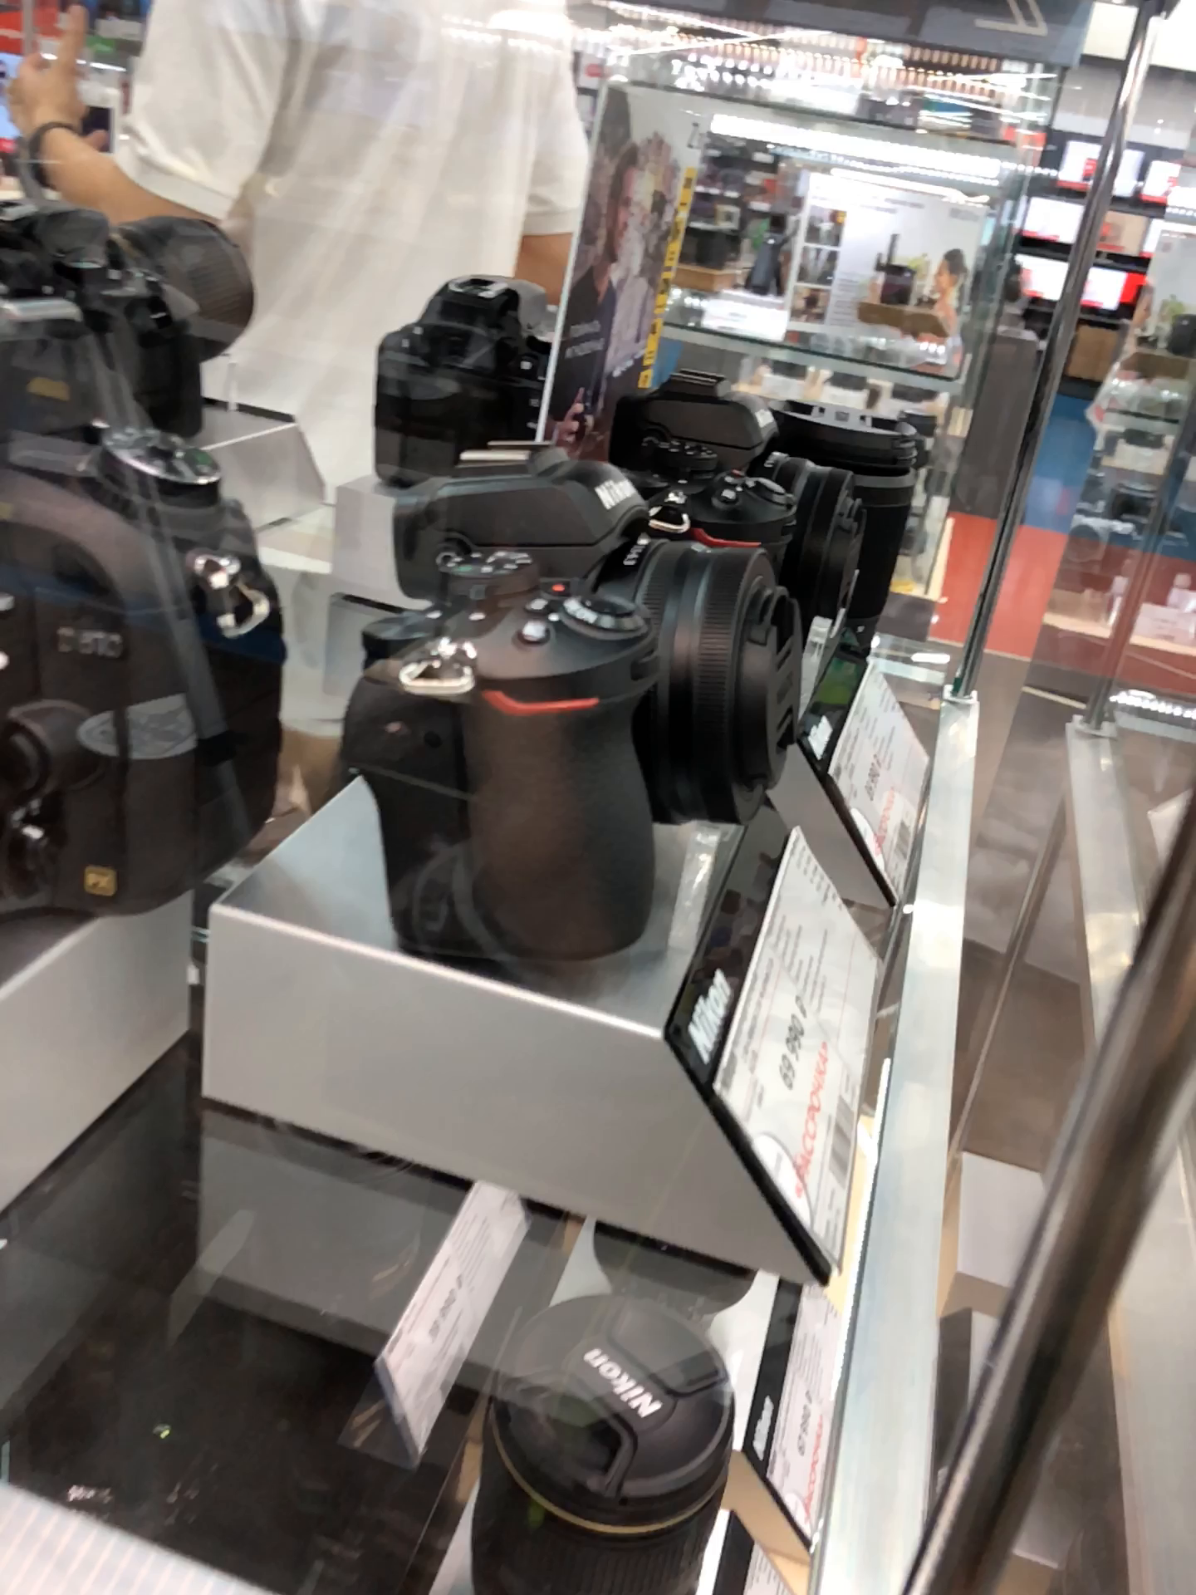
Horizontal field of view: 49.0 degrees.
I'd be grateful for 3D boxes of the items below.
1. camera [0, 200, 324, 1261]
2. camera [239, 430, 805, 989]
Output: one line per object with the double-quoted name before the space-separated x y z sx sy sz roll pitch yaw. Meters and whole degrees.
"camera" -0.150 -0.030 0.238 0.129 0.112 0.150 16 23 13
"camera" -0.006 -0.031 0.310 0.090 0.092 0.127 4 23 16
